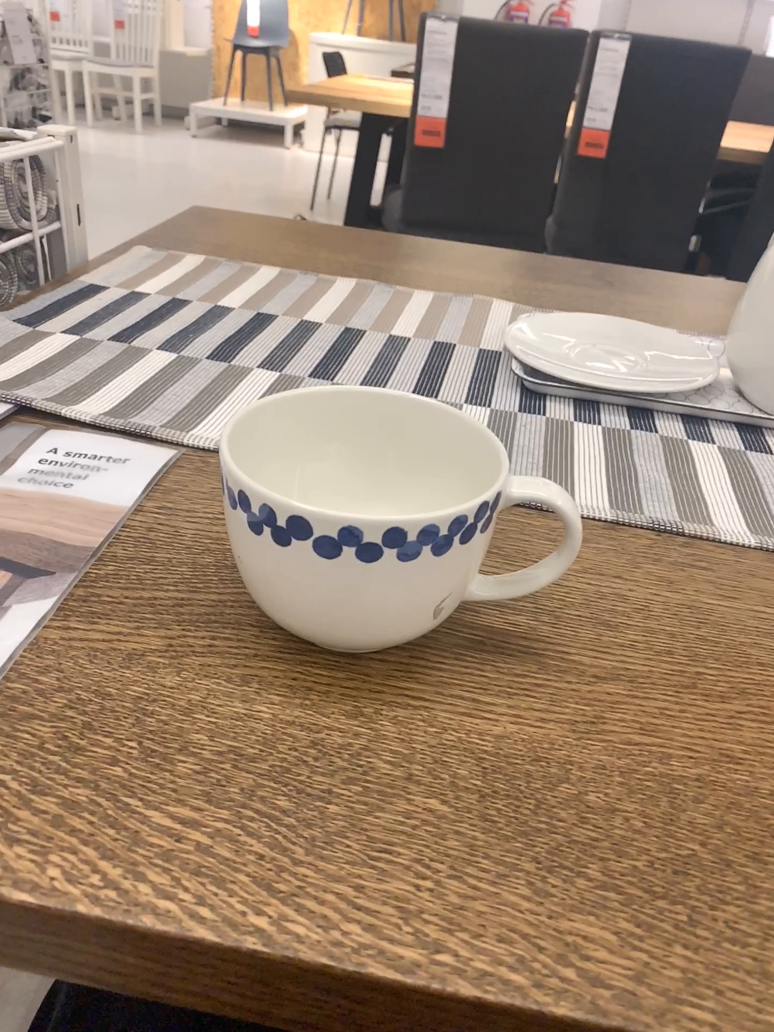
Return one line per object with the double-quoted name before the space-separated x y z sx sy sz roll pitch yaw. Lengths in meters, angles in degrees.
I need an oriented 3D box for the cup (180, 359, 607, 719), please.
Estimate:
"cup" 0.005 0.002 0.299 0.130 0.070 0.100 10 32 6
